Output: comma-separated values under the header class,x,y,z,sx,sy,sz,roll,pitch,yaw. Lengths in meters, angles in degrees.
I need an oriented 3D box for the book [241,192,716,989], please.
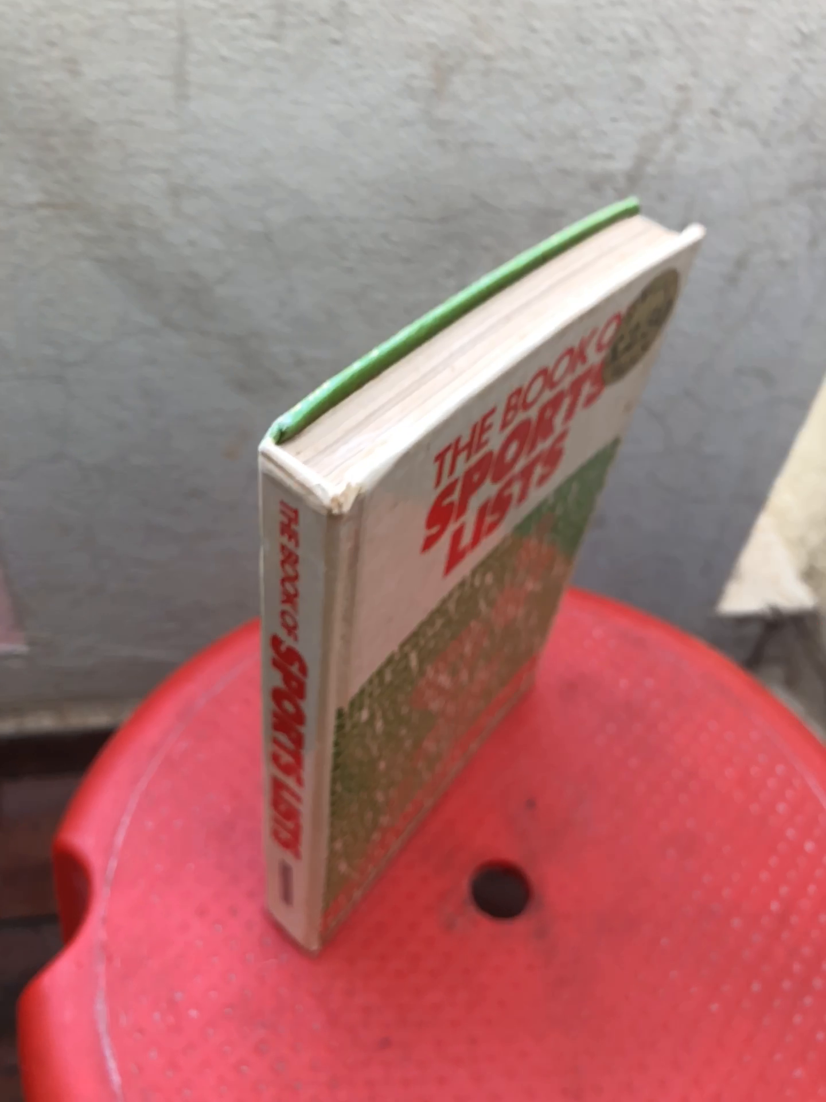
class,x,y,z,sx,sy,sz,roll,pitch,yaw
book,0.012,0.023,0.290,0.030,0.219,0.150,31,49,20
